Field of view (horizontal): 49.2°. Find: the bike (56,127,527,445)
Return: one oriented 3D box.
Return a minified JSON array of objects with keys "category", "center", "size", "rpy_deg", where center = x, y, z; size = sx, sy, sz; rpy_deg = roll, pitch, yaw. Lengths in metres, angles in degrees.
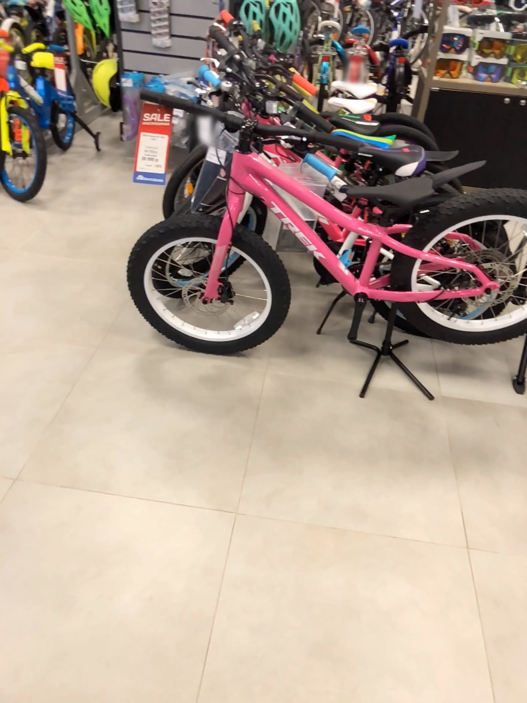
[{"category":"bike","center":[0.214,-0.188,1.661],"size":[1.334,0.668,0.574],"rpy_deg":[2,35,9]}]
